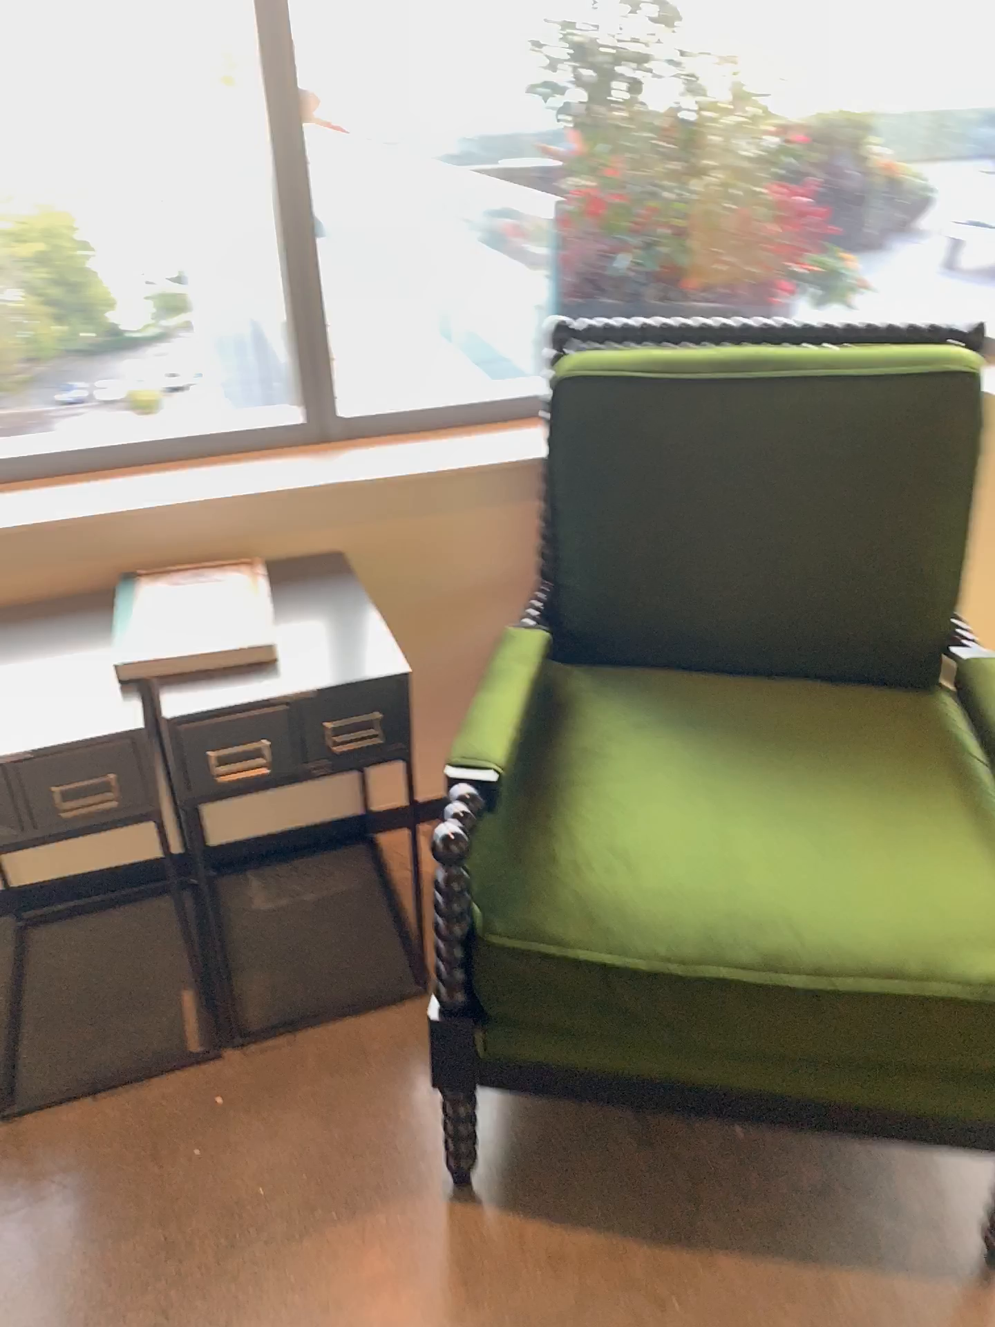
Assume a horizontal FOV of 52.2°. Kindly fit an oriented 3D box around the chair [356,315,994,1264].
[{"bbox_3d":[0.335,0.092,1.523,0.761,0.984,0.925,4,31,10],"label":"chair"}]
